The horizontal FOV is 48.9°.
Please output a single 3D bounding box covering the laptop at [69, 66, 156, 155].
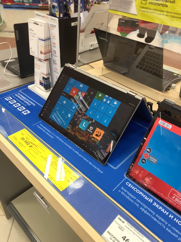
[{"bbox_3d":[0.078,-0.033,0.809,0.336,0.150,0.210,31,14,34],"label":"laptop"}]
